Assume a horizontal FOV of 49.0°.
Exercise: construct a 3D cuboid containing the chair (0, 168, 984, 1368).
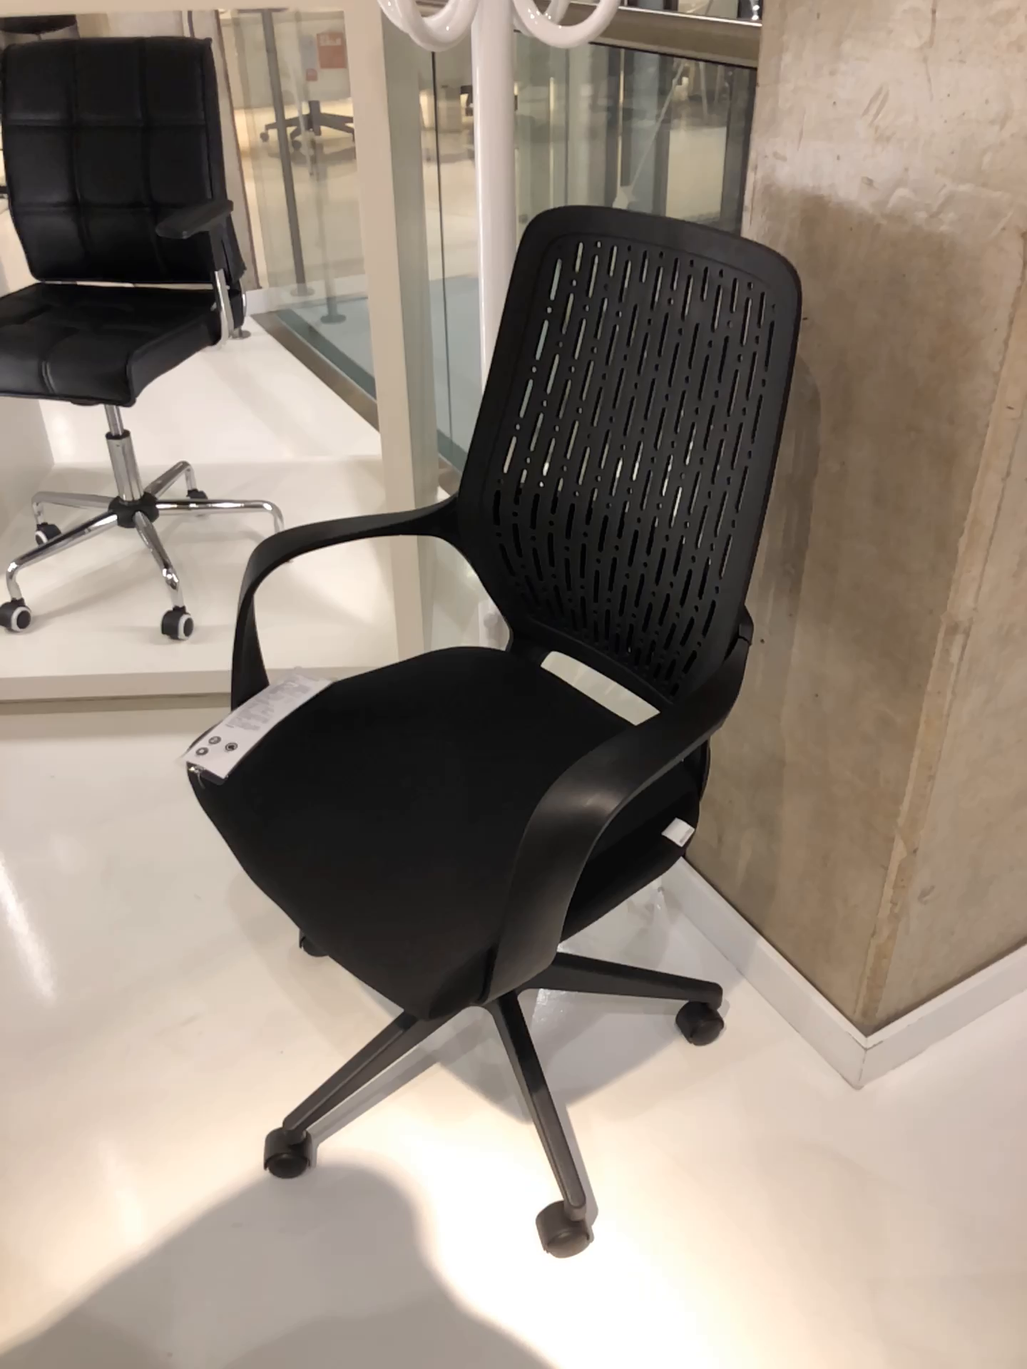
[{"bbox_3d":[-0.065,0.062,1.279,0.702,1.022,0.643,-25,41,-30],"label":"chair"}]
